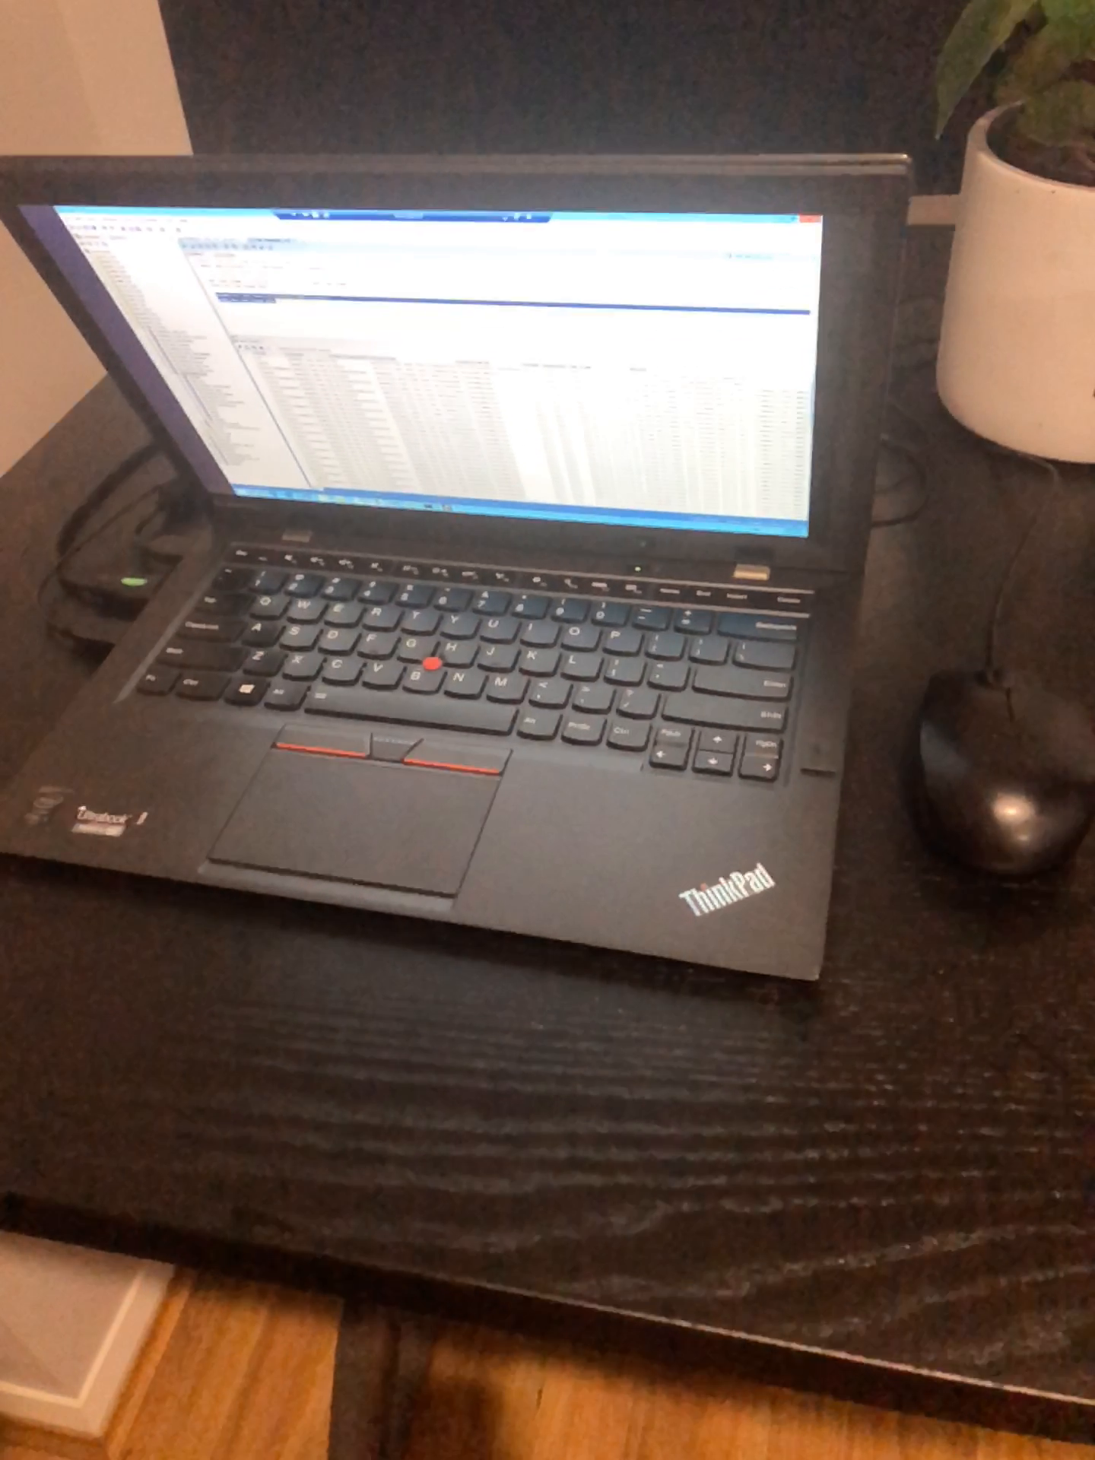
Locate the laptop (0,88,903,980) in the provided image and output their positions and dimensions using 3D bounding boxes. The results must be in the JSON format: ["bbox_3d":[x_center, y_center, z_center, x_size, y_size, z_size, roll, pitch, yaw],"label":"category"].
[{"bbox_3d":[-0.052,-0.095,0.463,0.340,0.214,0.245,6,42,14],"label":"laptop"}]
